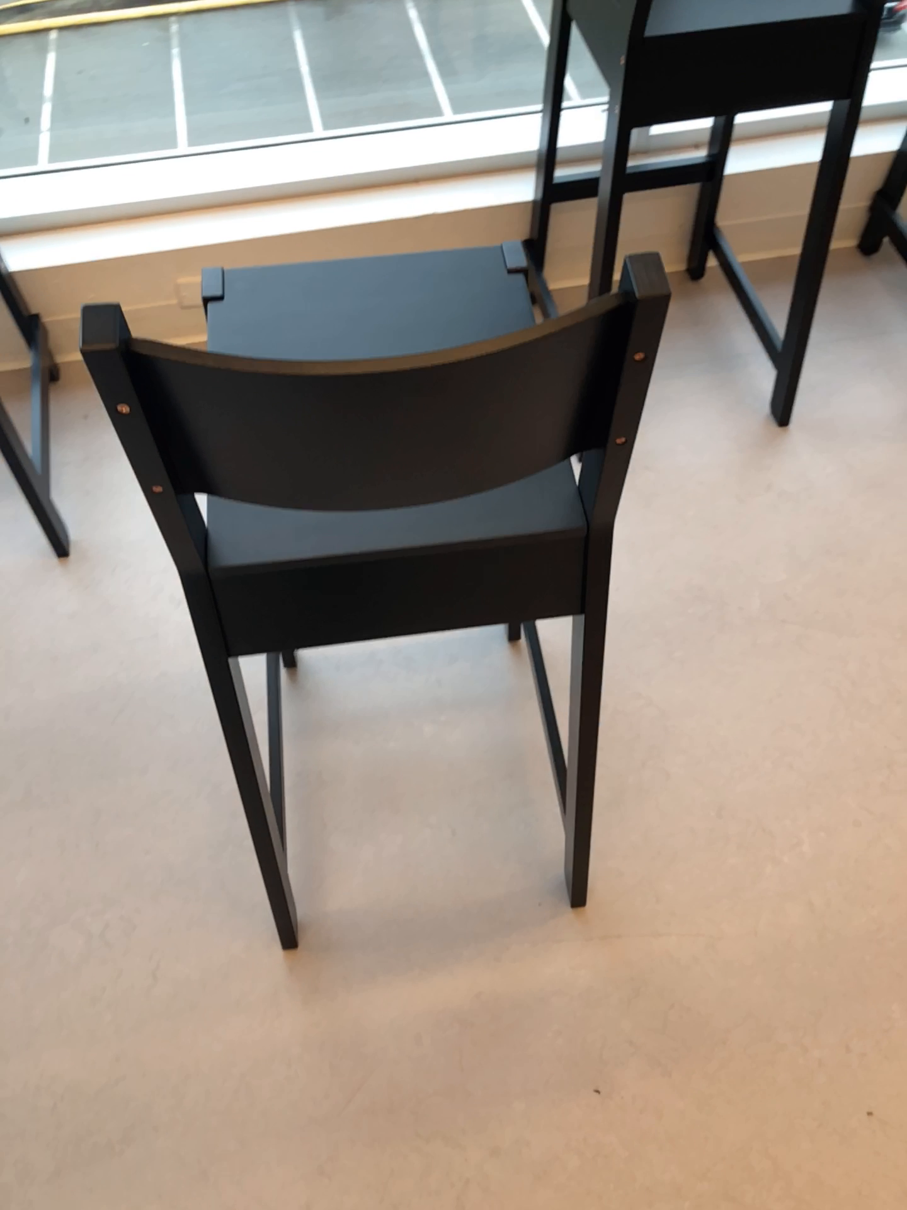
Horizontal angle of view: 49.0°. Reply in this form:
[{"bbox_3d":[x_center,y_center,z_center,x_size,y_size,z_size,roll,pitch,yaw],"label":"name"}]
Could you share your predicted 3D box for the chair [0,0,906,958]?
[{"bbox_3d":[-0.064,-0.089,1.083,0.550,0.995,0.583,-7,55,-4],"label":"chair"}]
